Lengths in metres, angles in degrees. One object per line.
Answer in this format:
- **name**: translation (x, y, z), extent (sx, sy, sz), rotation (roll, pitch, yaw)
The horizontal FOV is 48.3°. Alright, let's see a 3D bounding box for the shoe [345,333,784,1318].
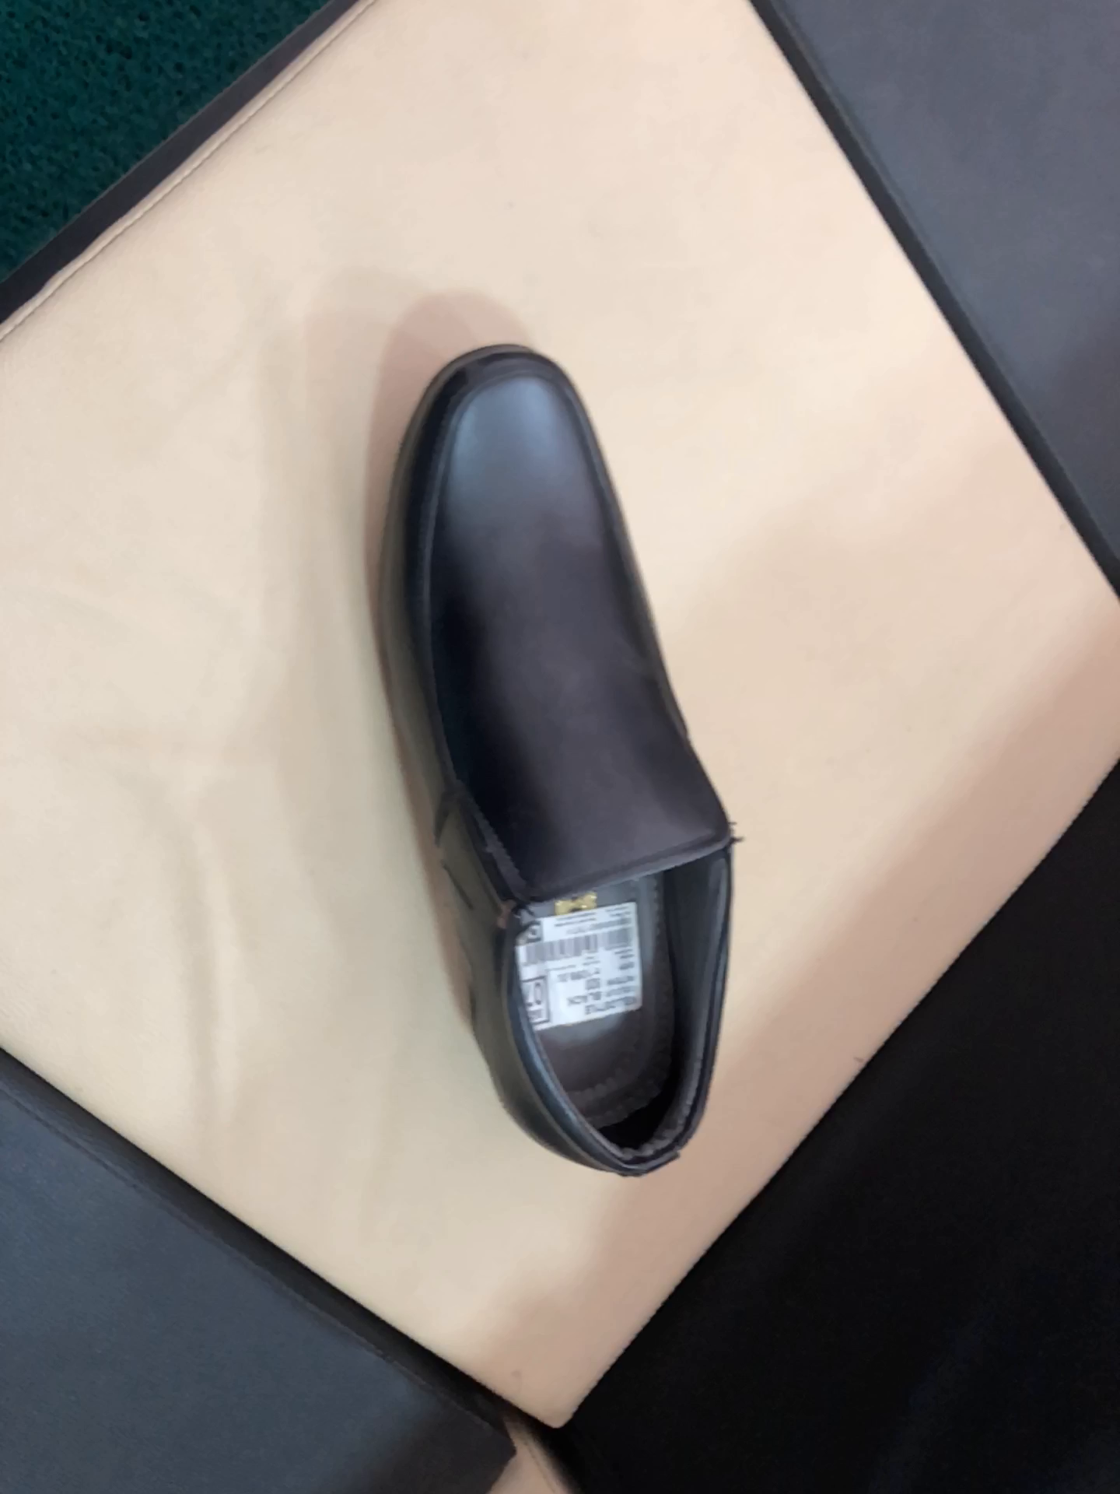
- **shoe**: translation (0.004, 0.025, 0.457), extent (0.100, 0.099, 0.320), rotation (-11, 104, -21)
